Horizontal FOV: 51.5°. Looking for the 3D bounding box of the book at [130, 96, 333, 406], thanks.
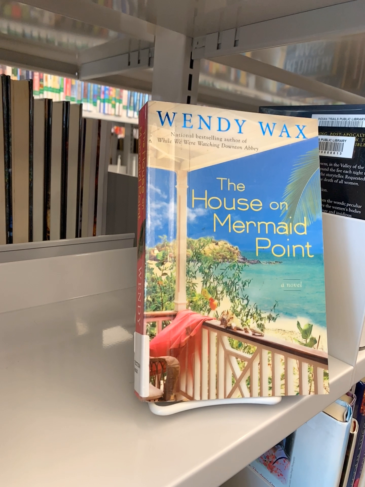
[{"bbox_3d":[0.032,0.004,0.268,0.131,0.193,0.043,2,-6,-11],"label":"book"}]
